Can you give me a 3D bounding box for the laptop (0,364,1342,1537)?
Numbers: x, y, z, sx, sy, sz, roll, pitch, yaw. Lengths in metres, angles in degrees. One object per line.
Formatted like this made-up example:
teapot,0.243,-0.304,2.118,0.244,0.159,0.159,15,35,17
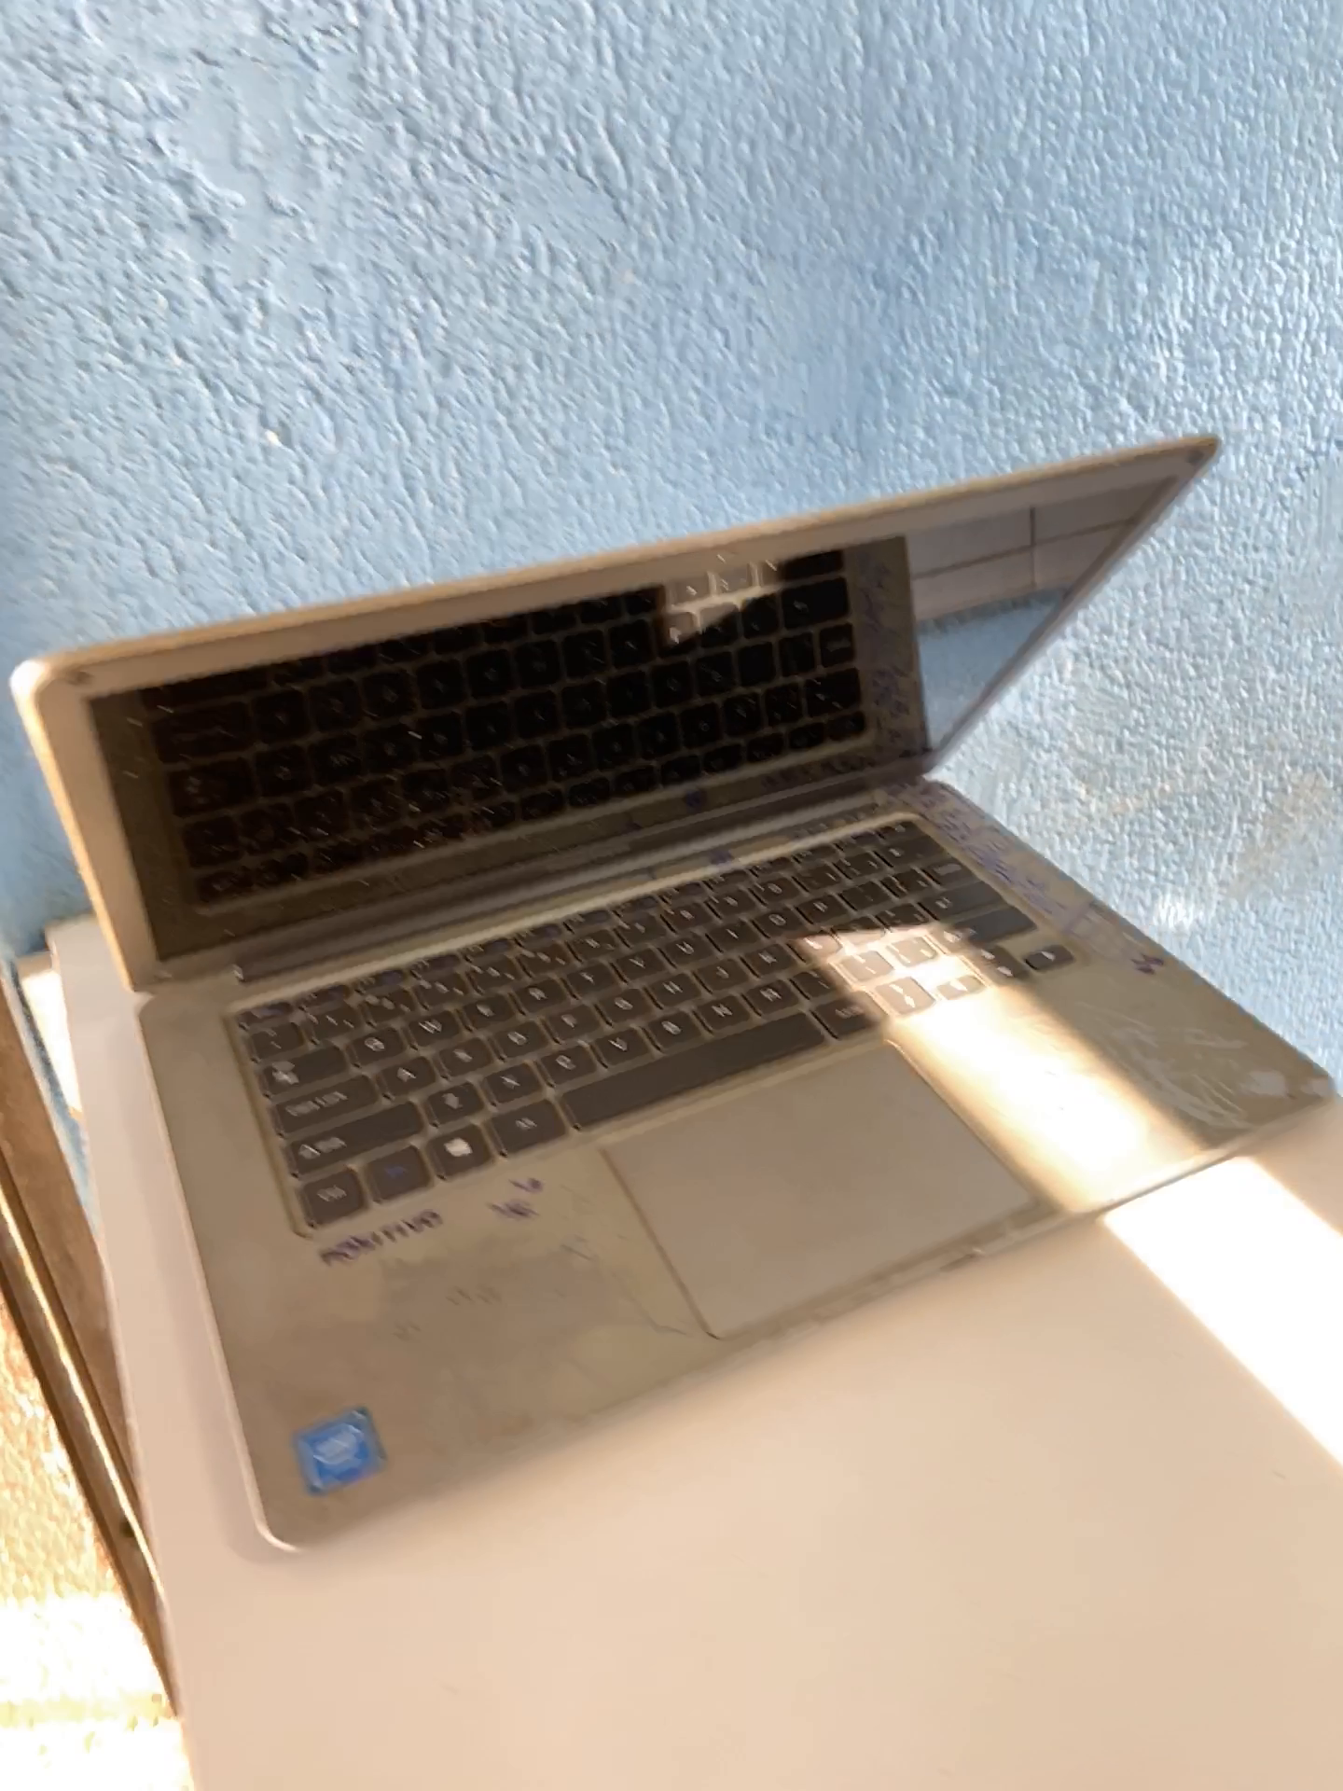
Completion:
laptop,0.011,-0.023,0.400,0.327,0.167,0.212,-16,37,-21
